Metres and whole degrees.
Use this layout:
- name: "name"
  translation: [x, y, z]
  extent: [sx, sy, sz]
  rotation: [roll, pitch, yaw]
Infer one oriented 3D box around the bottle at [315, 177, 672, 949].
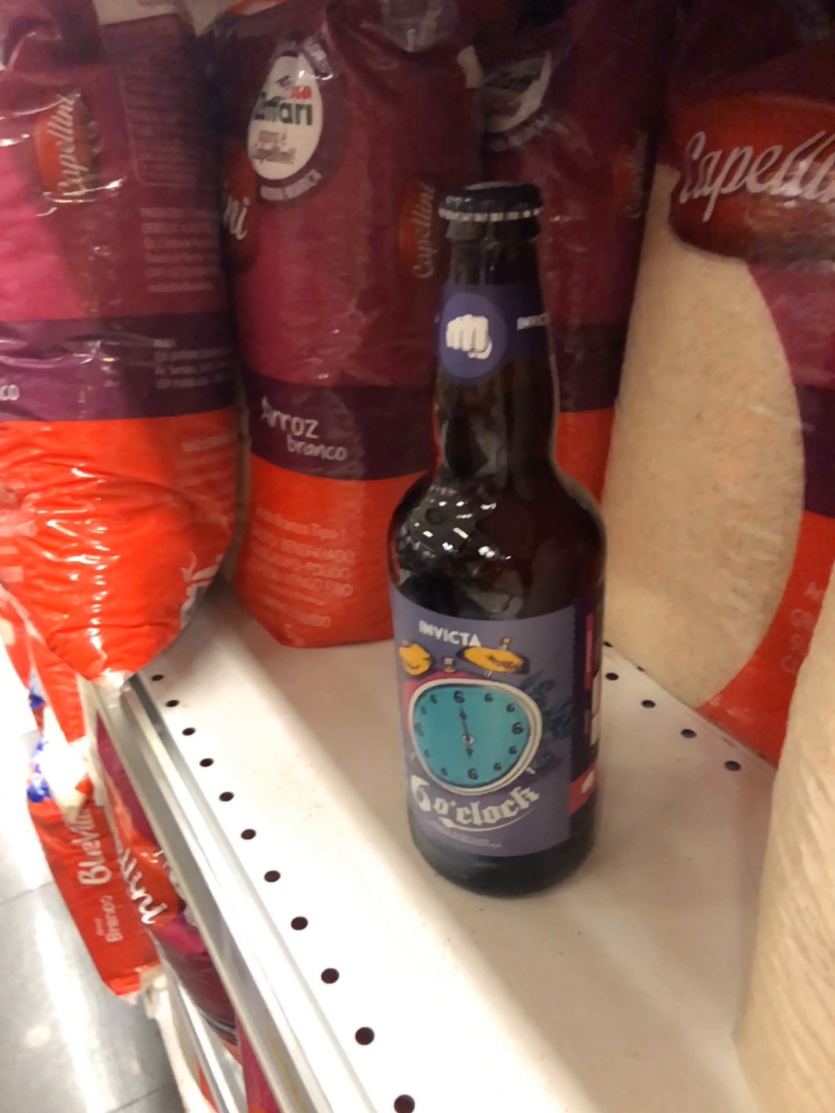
- name: "bottle"
  translation: [0.028, 0.007, 0.294]
  extent: [0.070, 0.228, 0.070]
  rotation: [-3, 29, 2]
